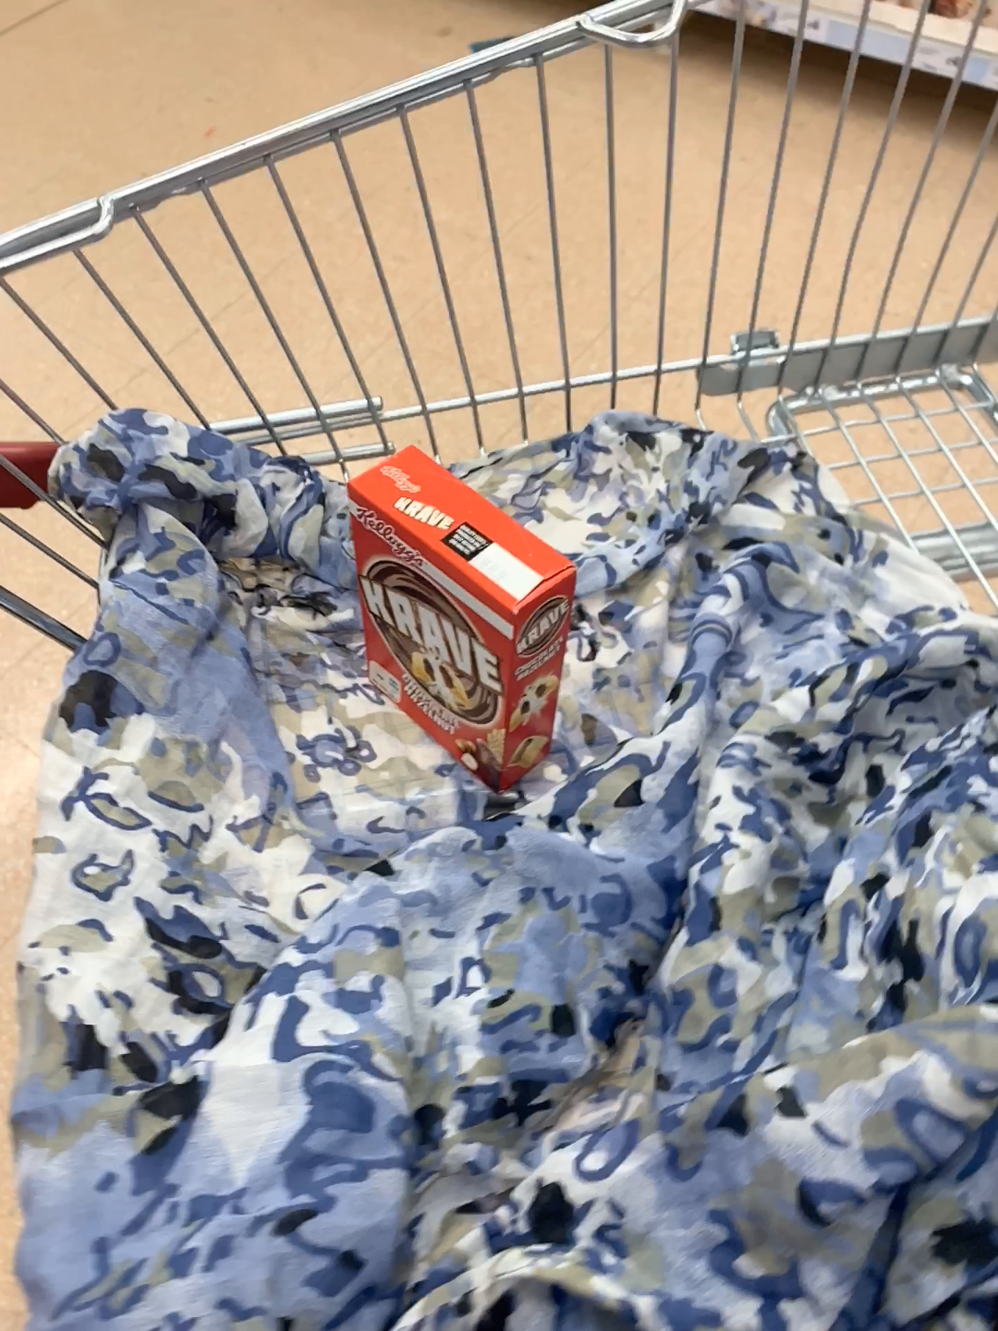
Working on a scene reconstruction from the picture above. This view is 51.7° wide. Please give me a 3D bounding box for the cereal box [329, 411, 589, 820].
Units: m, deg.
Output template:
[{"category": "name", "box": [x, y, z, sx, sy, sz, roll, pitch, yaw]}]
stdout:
[{"category": "cereal box", "box": [-0.018, -0.014, 0.421, 0.090, 0.149, 0.040, 40, 61, 24]}]
